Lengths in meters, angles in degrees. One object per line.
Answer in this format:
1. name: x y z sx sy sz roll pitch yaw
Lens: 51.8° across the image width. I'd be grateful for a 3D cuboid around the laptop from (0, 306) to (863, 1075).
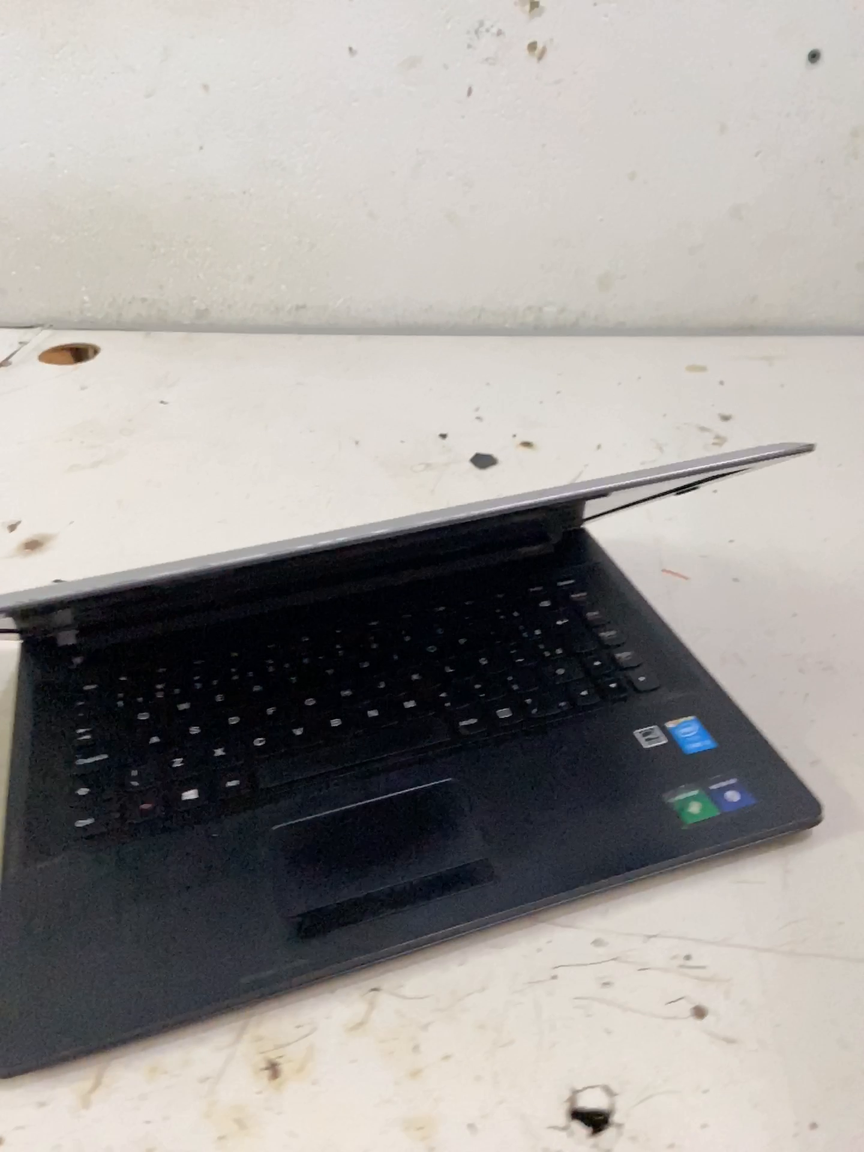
1. laptop: -0.027 0.012 0.406 0.344 0.148 0.246 -12 37 -13
